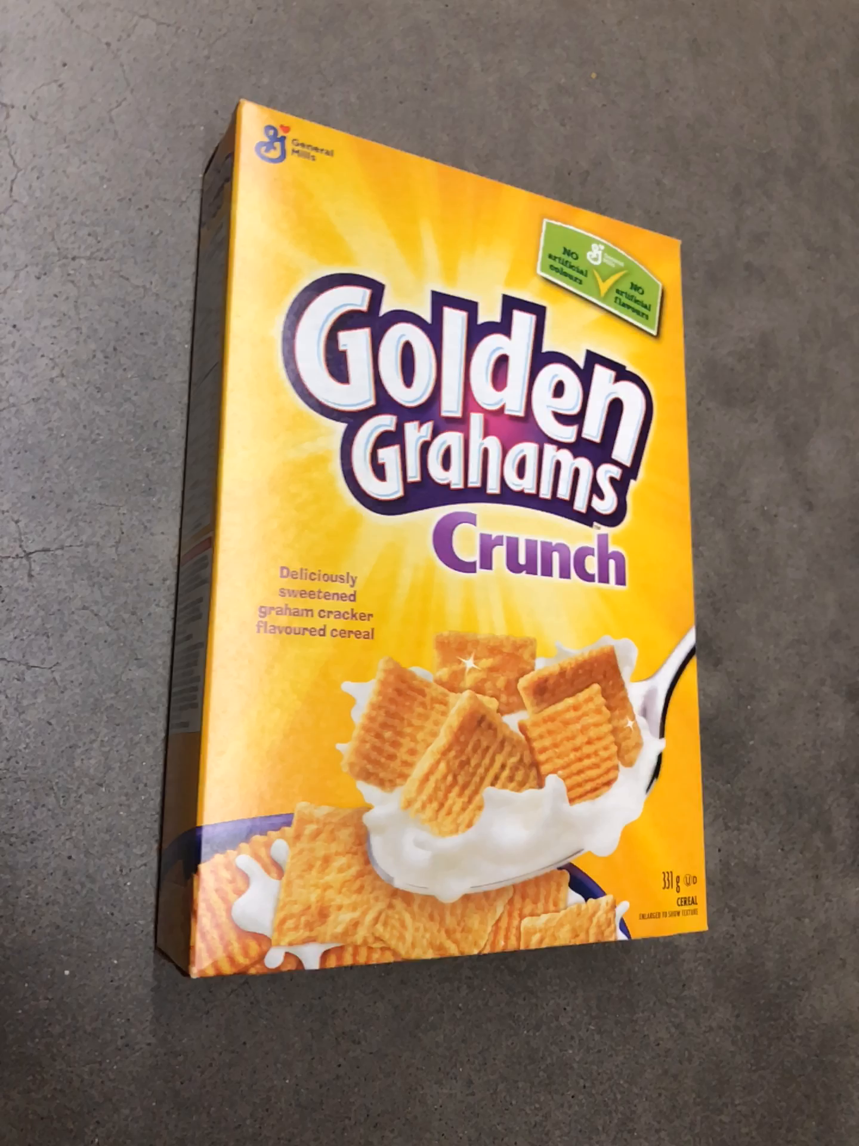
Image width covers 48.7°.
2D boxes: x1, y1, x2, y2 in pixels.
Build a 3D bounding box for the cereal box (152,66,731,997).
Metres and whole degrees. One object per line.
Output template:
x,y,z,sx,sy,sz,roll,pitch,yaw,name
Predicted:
0.011,-0.012,0.372,0.201,0.070,0.300,6,79,-25,cereal box
